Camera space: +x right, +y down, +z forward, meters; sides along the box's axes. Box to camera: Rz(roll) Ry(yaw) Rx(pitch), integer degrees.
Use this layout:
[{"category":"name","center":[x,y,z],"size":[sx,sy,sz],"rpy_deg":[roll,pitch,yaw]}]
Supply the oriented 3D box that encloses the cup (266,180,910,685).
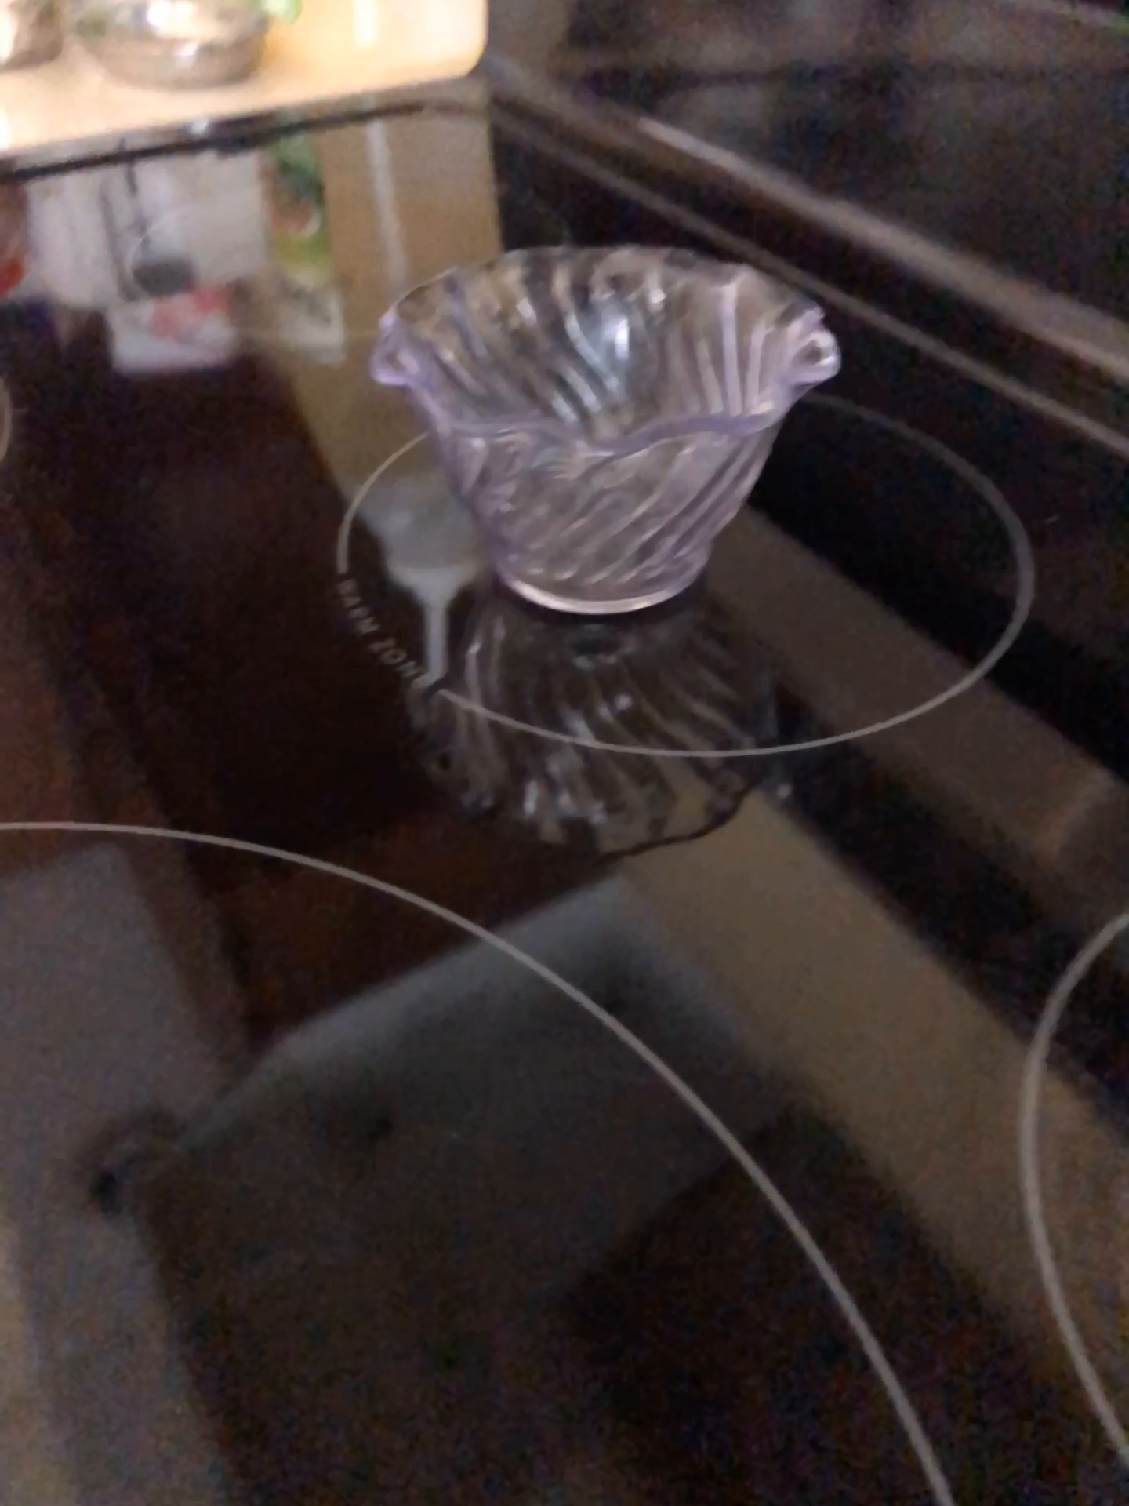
[{"category":"cup","center":[0.011,-0.074,0.267],"size":[0.101,0.052,0.100],"rpy_deg":[0,41,0]}]
